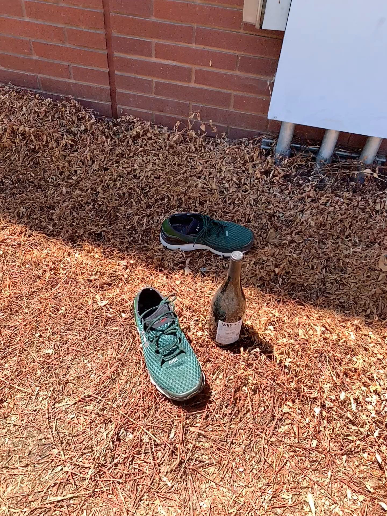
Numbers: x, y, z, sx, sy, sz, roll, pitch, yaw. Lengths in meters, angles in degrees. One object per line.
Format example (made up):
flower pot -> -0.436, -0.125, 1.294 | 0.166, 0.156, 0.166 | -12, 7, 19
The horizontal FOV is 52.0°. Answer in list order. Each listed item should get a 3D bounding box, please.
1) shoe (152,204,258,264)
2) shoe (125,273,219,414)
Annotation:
shoe -> 0.032, -0.072, 1.191 | 0.300, 0.109, 0.111 | 5, 46, 0
shoe -> -0.058, 0.183, 0.904 | 0.110, 0.109, 0.281 | -15, 50, -19
